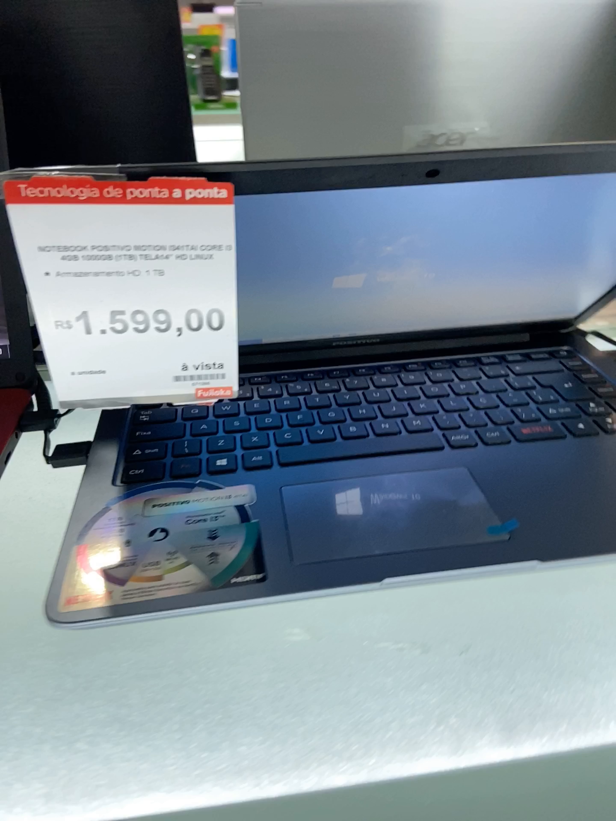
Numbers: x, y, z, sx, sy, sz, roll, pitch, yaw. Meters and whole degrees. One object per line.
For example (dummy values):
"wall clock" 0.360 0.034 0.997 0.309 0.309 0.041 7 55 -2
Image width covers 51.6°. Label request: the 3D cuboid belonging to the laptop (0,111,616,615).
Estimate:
"laptop" 0.045 -0.052 0.311 0.316 0.145 0.212 -5 30 -6
